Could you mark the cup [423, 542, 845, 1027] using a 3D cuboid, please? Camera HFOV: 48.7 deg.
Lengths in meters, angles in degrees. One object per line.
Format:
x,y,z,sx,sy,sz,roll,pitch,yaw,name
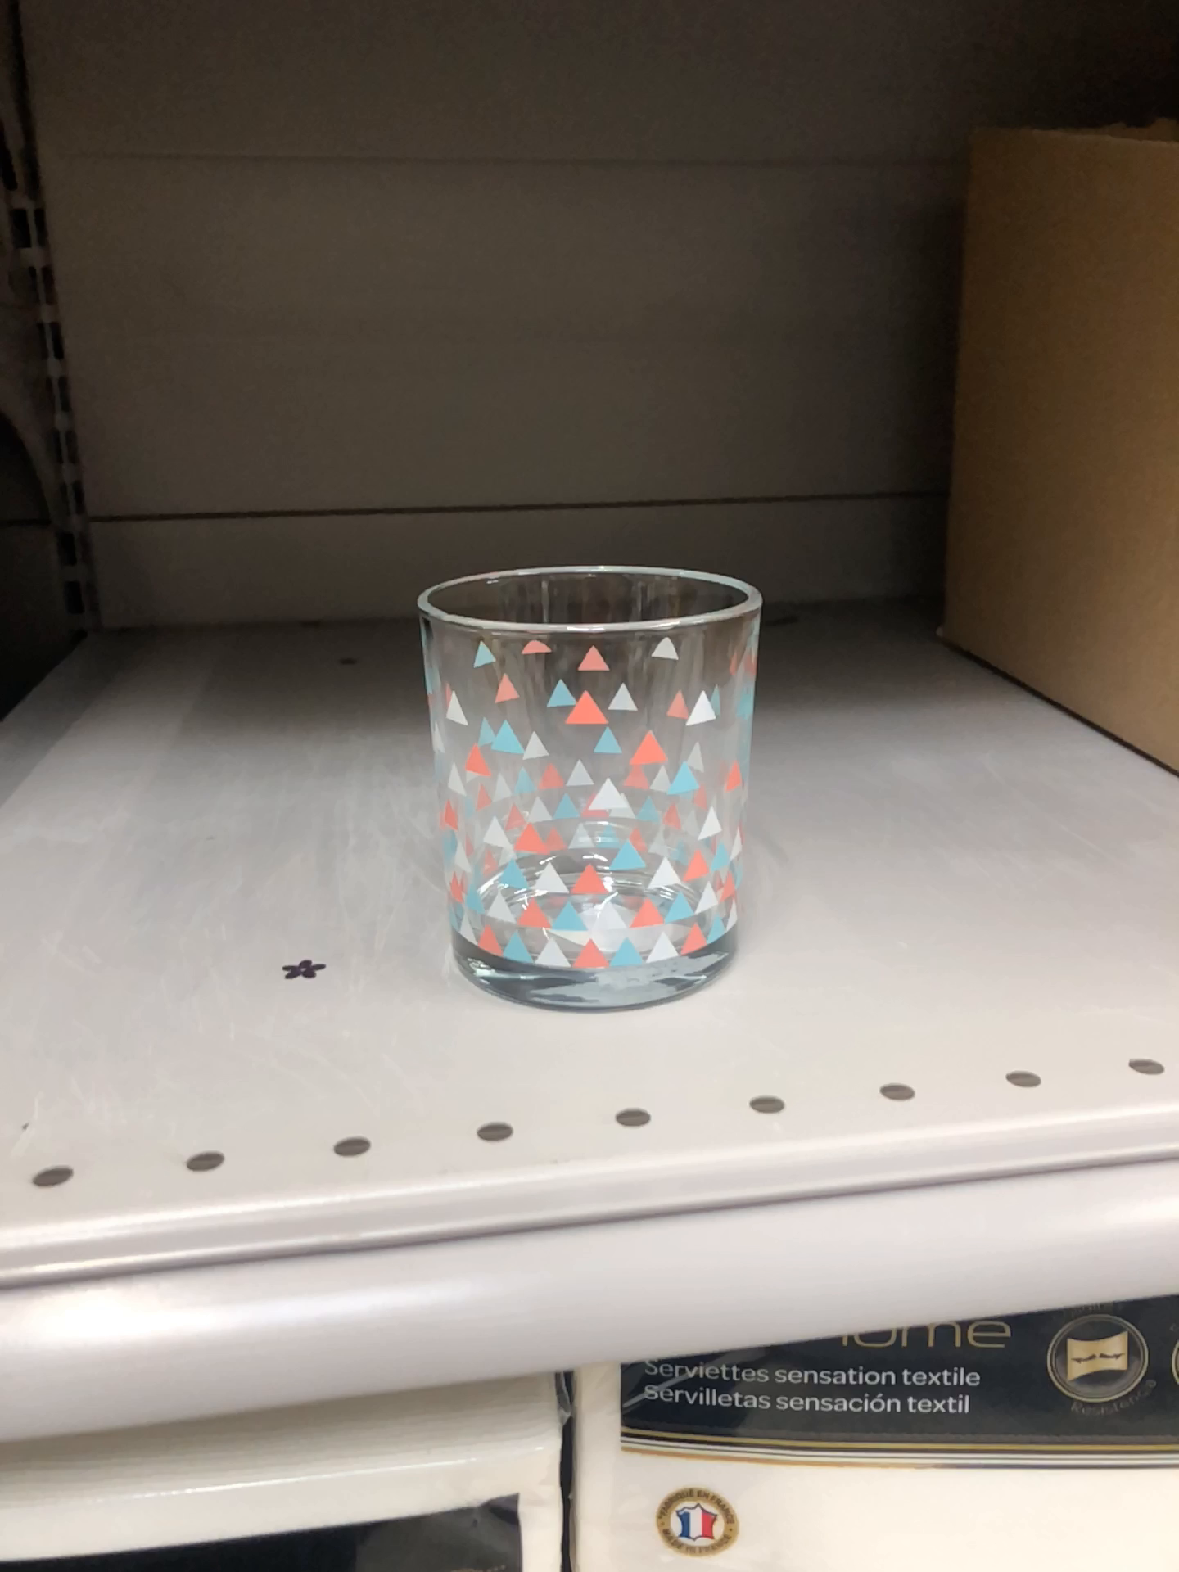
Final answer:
0.005,-0.006,0.282,0.076,0.081,0.077,-1,18,0,cup
